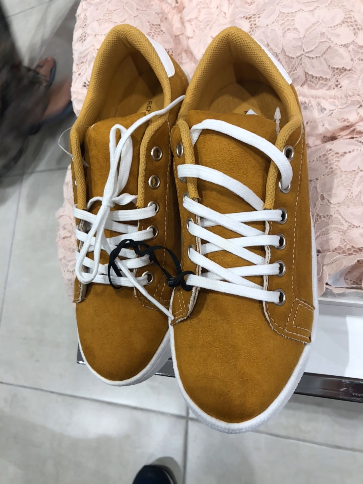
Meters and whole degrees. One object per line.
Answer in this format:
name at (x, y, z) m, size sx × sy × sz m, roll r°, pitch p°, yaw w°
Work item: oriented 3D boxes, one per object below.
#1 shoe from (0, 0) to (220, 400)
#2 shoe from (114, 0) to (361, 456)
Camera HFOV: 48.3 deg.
shoe at (-0.032, -0.029, 0.280) m, size 0.090 × 0.100 × 0.240 m, roll 3°, pitch 75°, yaw 12°
shoe at (0.039, -0.014, 0.252) m, size 0.100 × 0.100 × 0.240 m, roll 1°, pitch 70°, yaw 11°
